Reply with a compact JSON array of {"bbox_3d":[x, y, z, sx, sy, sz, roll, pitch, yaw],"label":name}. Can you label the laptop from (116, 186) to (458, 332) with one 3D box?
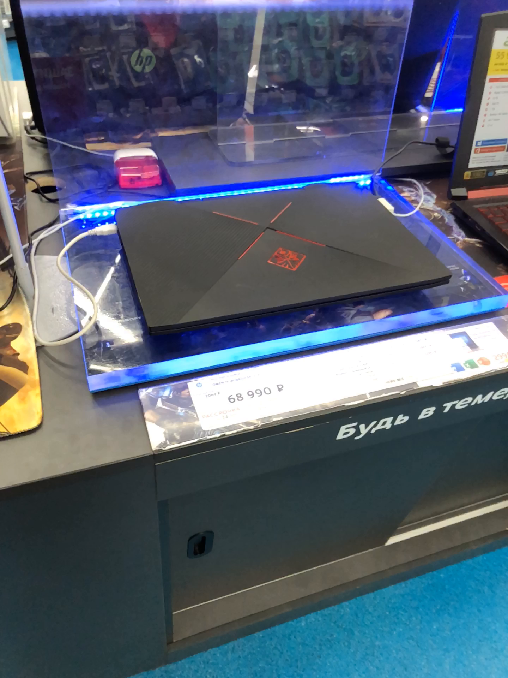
[{"bbox_3d":[0.028,-0.113,0.678,0.350,0.003,0.238,-11,43,-15],"label":"laptop"}]
